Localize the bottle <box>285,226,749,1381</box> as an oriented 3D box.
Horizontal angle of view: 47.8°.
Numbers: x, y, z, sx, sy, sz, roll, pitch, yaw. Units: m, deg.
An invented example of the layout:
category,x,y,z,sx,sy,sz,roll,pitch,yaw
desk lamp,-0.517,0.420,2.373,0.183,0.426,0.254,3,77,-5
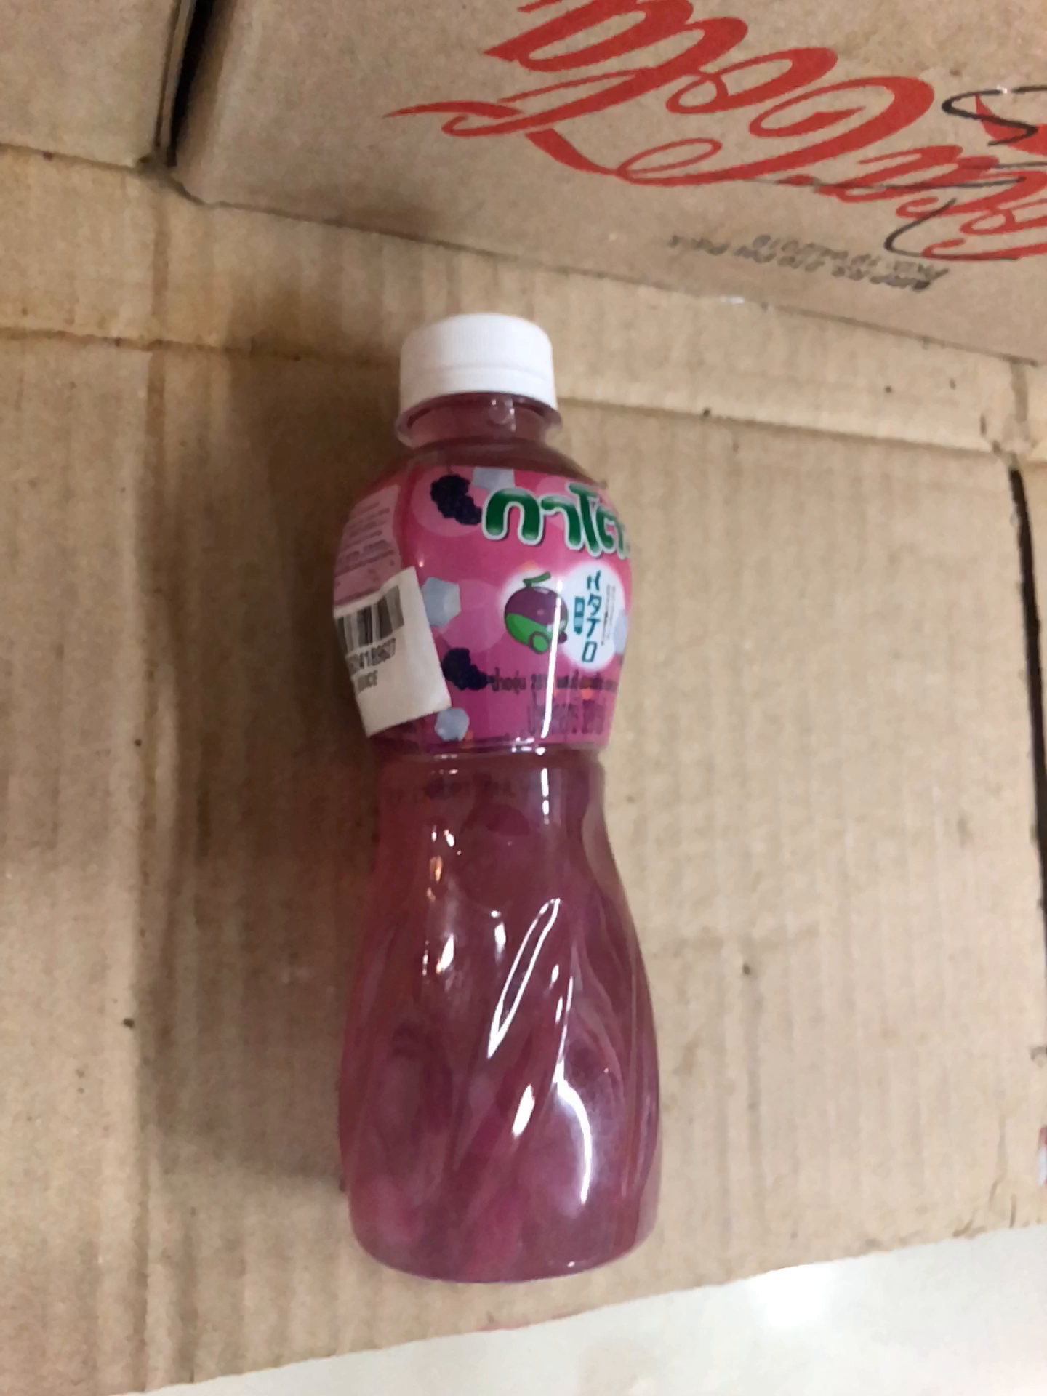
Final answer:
category,x,y,z,sx,sy,sz,roll,pitch,yaw
bottle,-0.004,0.014,0.211,0.060,0.050,0.170,2,83,-30
